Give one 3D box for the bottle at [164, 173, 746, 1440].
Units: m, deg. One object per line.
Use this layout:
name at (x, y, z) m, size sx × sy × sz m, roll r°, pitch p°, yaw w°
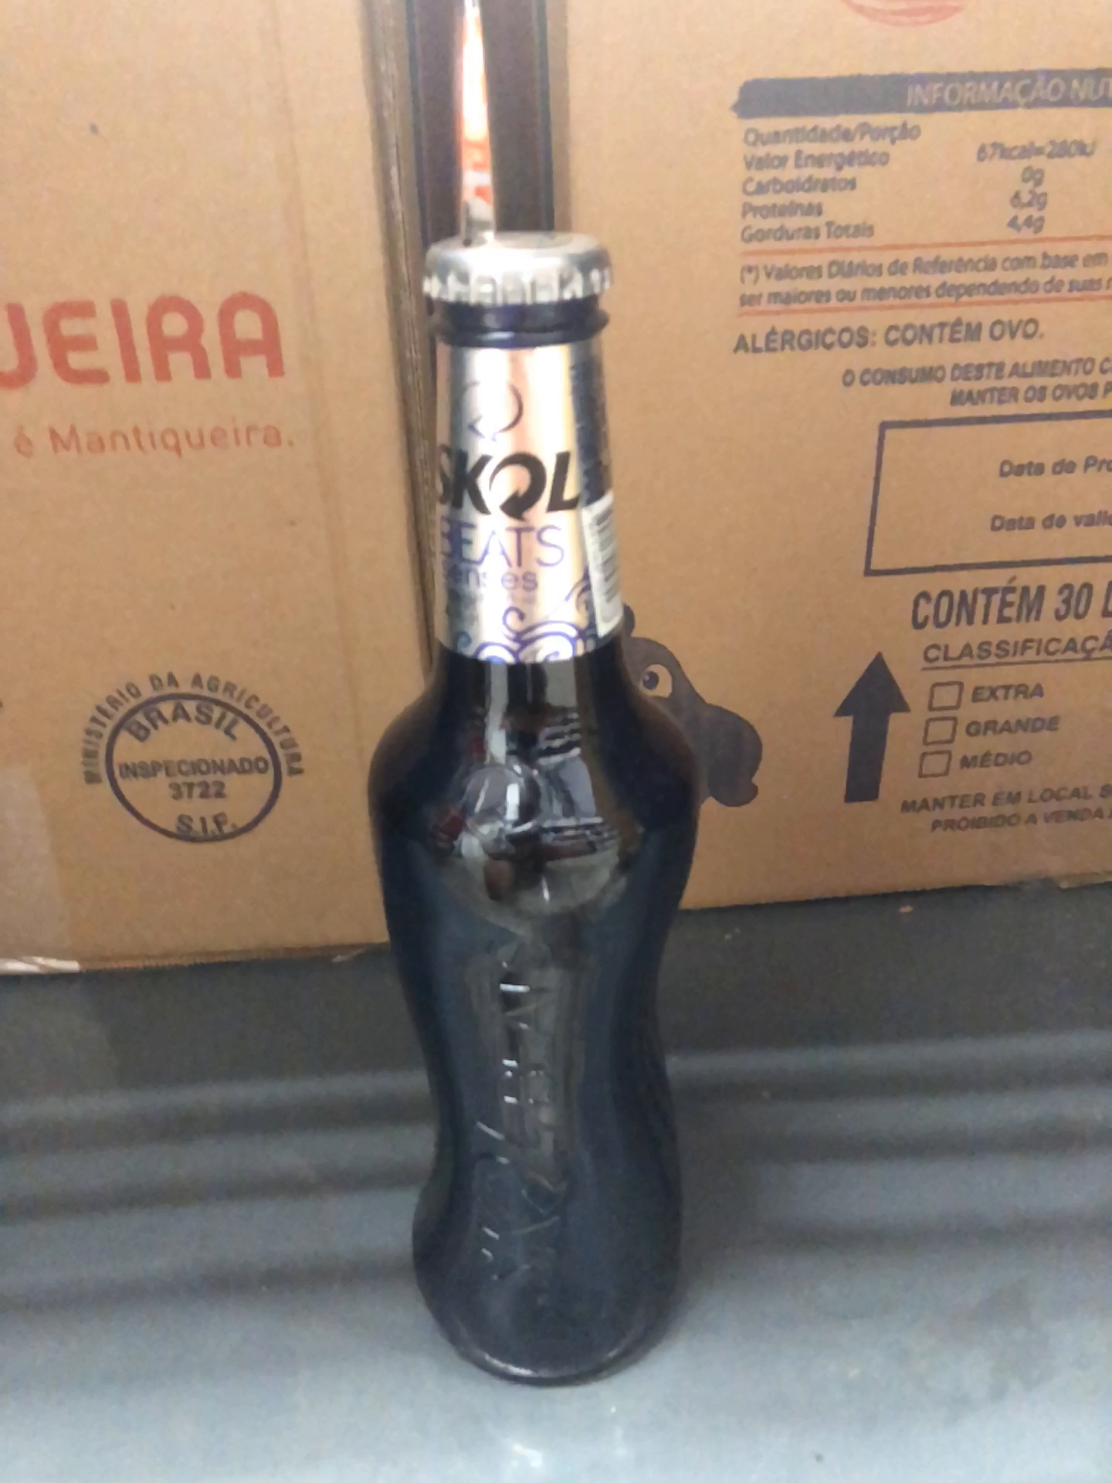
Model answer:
bottle at (-0.006, 0.027, 0.236) m, size 0.070 × 0.238 × 0.071 m, roll -2°, pitch 29°, yaw 1°
